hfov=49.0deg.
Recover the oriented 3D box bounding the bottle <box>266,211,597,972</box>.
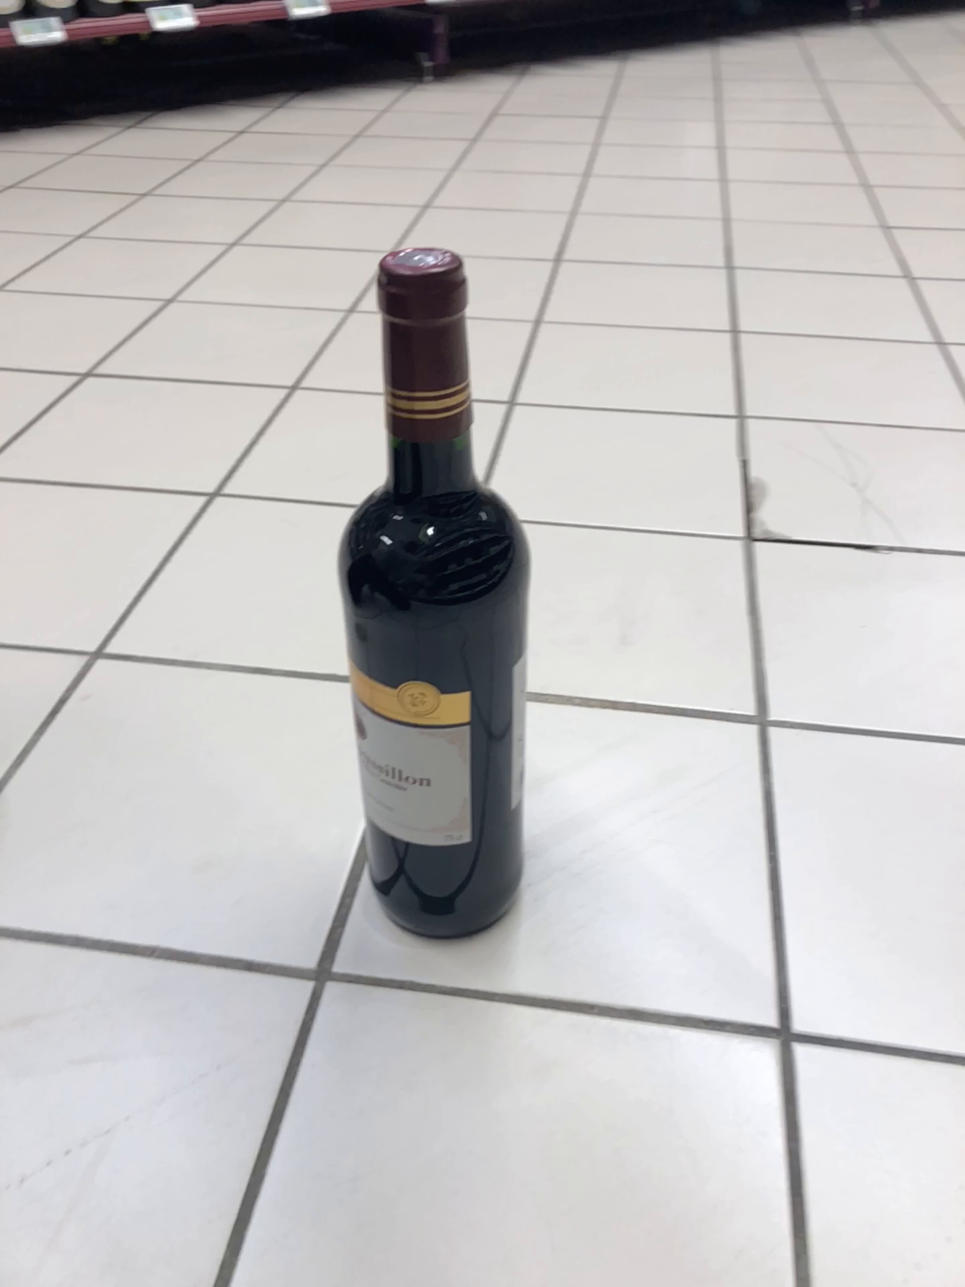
[{"bbox_3d":[-0.020,-0.004,0.416,0.090,0.288,0.090,0,37,0],"label":"bottle"}]
